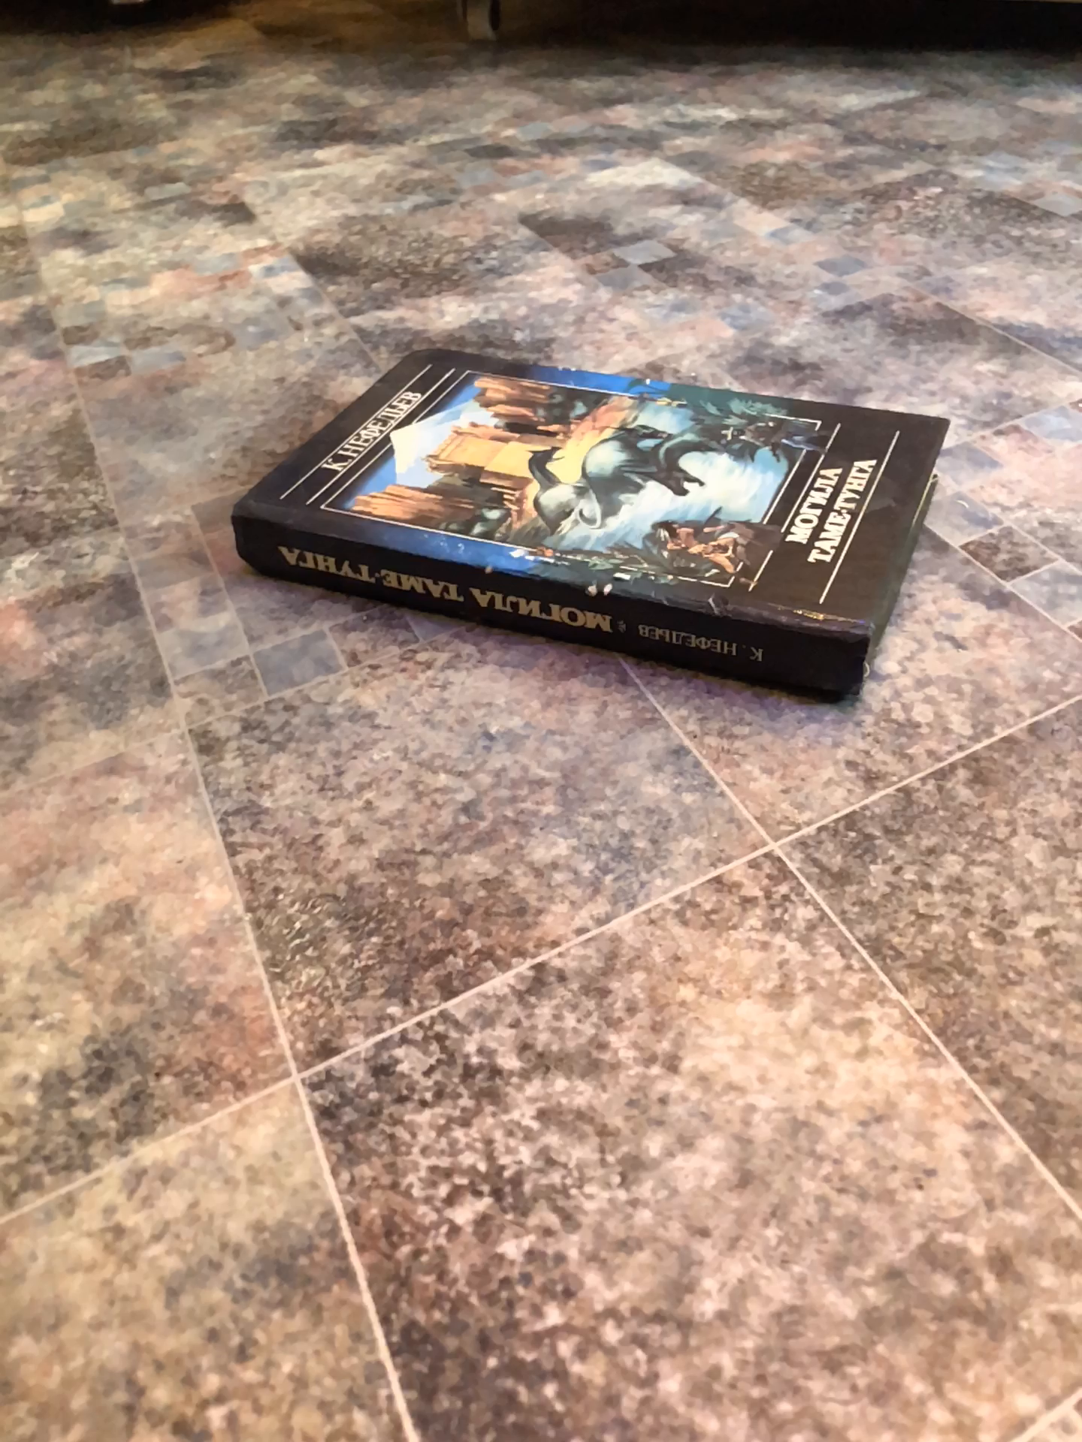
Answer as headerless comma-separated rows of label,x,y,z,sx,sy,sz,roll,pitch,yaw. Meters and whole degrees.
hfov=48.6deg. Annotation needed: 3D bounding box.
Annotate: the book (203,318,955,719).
book,0.017,-0.078,0.391,0.202,0.030,0.139,15,43,20
